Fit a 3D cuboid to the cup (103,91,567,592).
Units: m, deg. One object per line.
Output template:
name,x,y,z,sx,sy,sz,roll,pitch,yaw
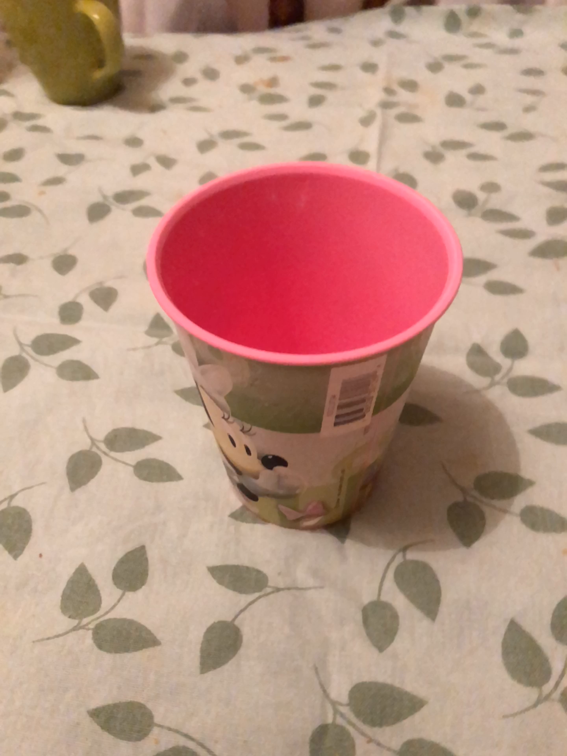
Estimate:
cup,0.009,-0.012,0.224,0.100,0.119,0.101,-1,49,1
